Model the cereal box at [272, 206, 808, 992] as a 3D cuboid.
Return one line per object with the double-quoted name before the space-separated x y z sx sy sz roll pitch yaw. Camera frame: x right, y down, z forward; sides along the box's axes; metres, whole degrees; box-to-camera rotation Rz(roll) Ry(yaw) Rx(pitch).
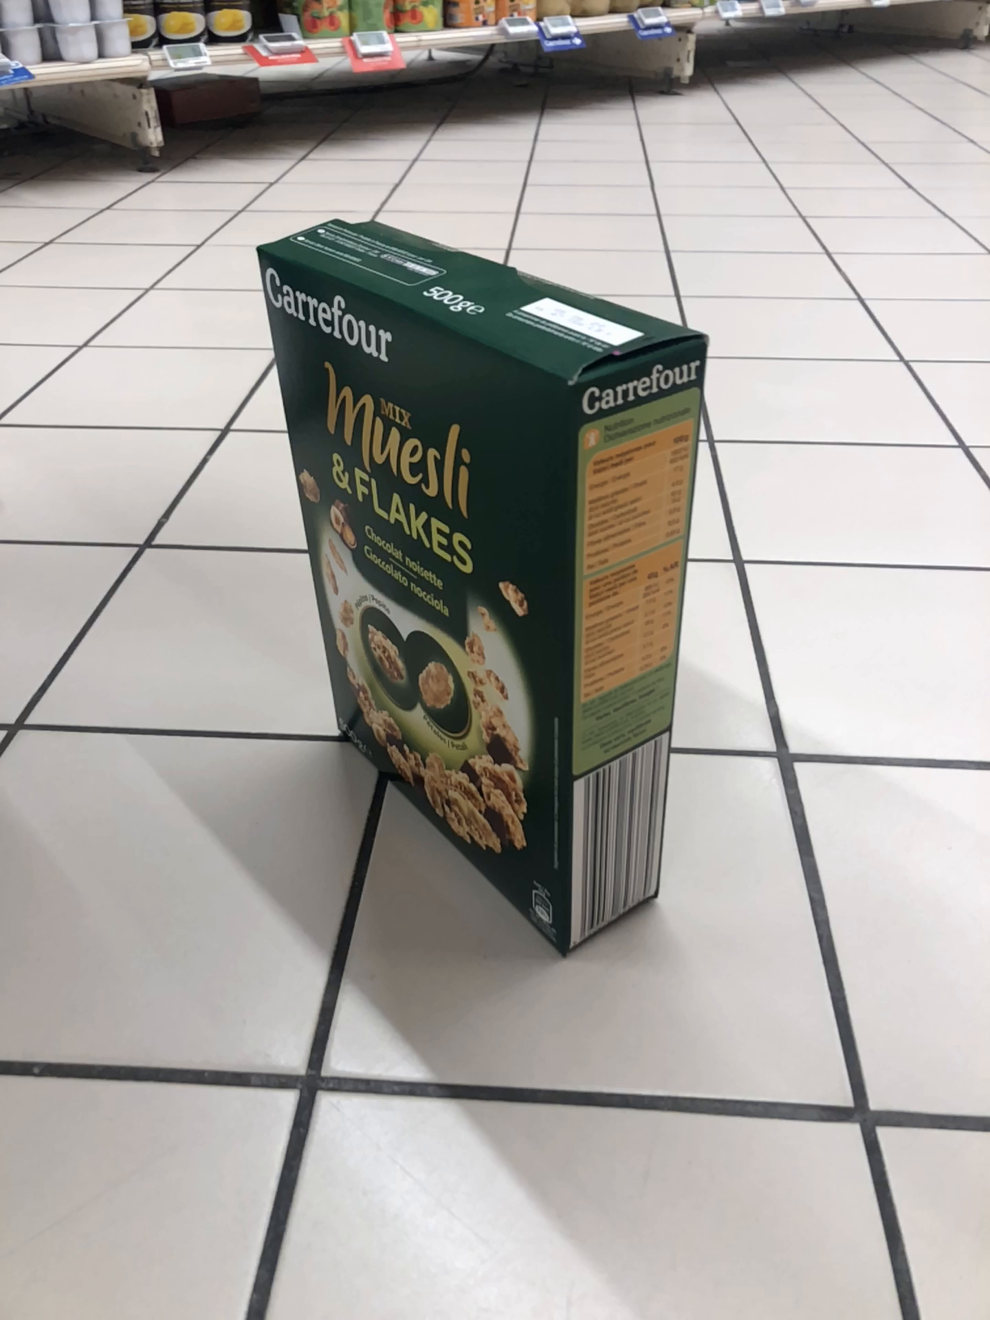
"cereal box" 0.008 -0.030 0.445 0.080 0.248 0.200 -23 40 -27
